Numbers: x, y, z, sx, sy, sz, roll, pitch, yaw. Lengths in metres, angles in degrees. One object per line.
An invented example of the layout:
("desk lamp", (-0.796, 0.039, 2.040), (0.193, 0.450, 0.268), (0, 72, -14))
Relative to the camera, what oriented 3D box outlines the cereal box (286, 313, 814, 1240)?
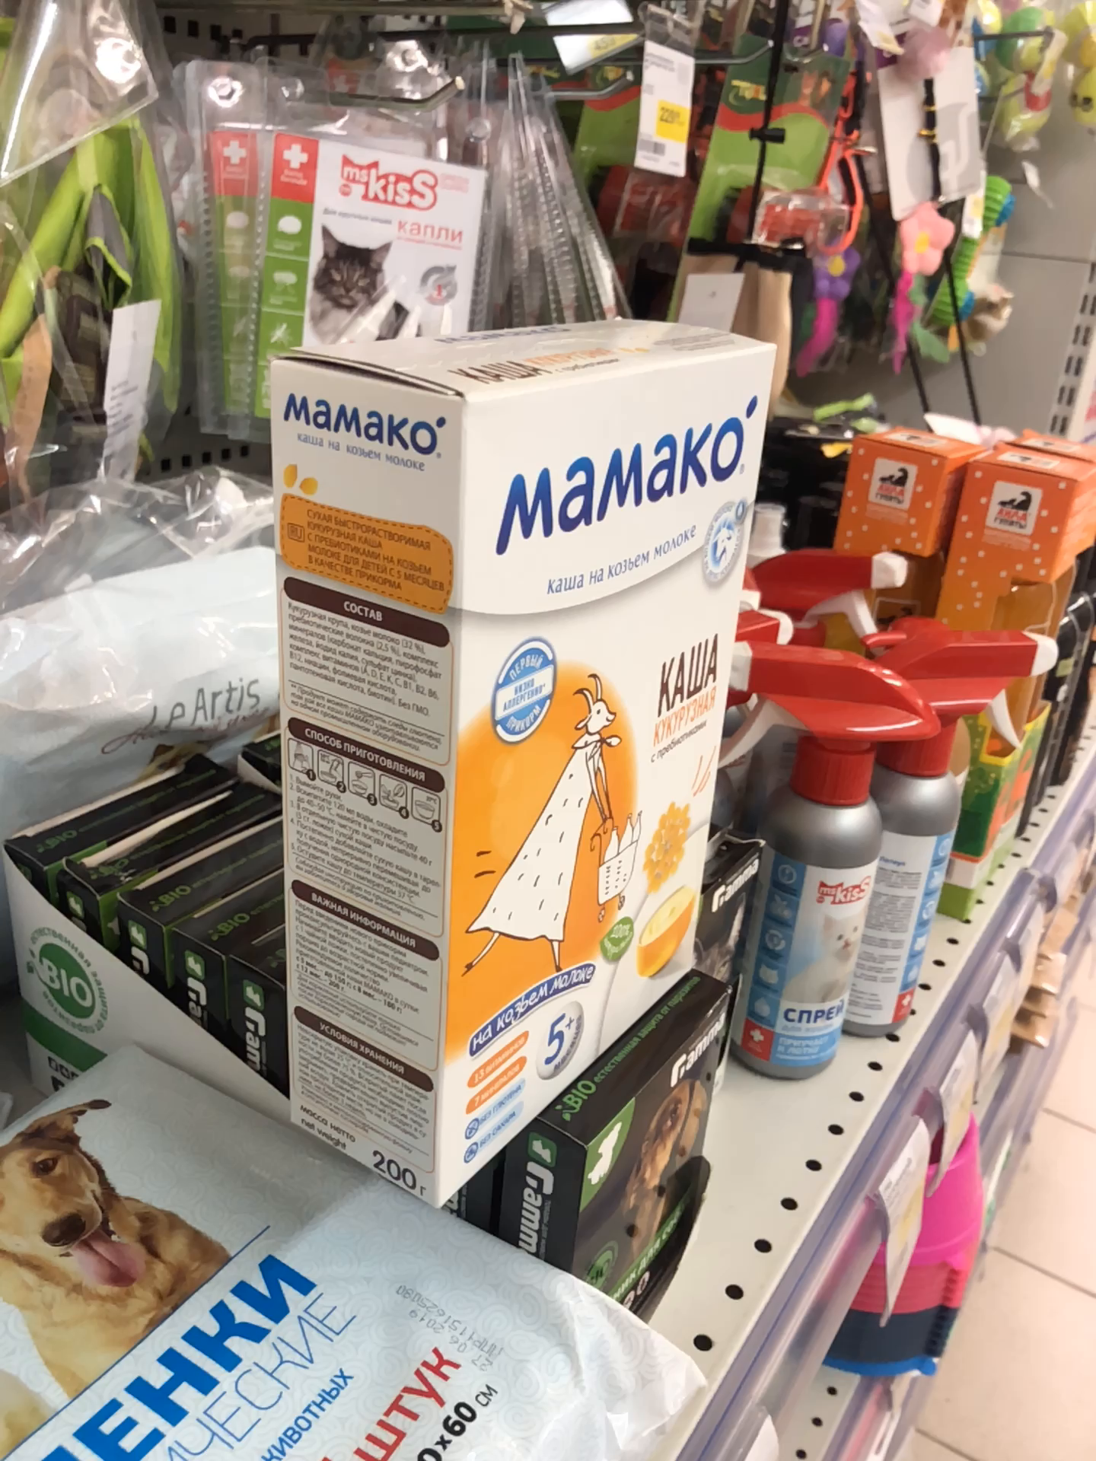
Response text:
("cereal box", (0.003, 0.002, 0.315), (0.050, 0.199, 0.141), (18, 27, 30))
